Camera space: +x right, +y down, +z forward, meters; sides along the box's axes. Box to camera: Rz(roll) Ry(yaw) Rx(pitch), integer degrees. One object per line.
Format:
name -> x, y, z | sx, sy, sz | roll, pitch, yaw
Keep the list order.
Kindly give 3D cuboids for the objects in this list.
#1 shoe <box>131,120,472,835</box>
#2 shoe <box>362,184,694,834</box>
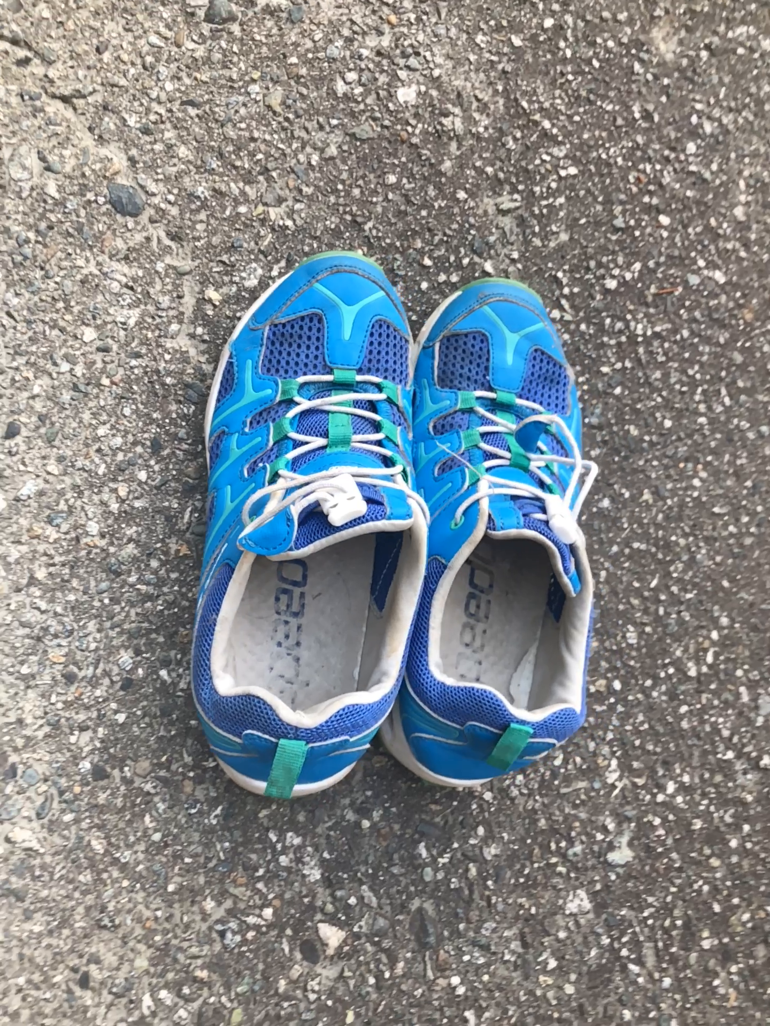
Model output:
shoe -> -0.037, -0.011, 0.362 | 0.100, 0.090, 0.260 | 8, 81, -16
shoe -> 0.062, 0.002, 0.382 | 0.100, 0.090, 0.250 | 8, 81, -16
